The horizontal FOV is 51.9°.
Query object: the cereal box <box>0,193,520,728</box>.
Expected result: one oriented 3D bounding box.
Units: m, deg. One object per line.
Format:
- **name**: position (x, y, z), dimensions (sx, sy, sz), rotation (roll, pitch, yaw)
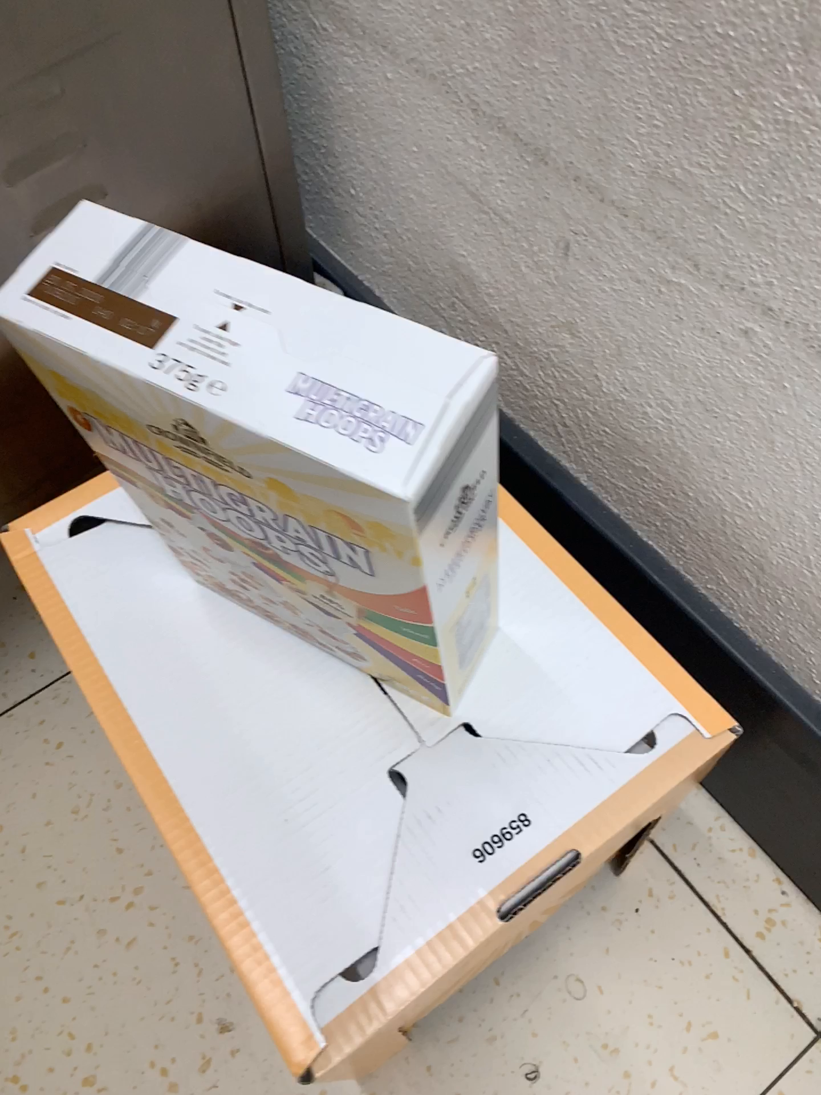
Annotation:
- **cereal box**: position (-0.055, -0.021, 0.414), dimensions (0.200, 0.248, 0.070), rotation (25, 68, 17)
